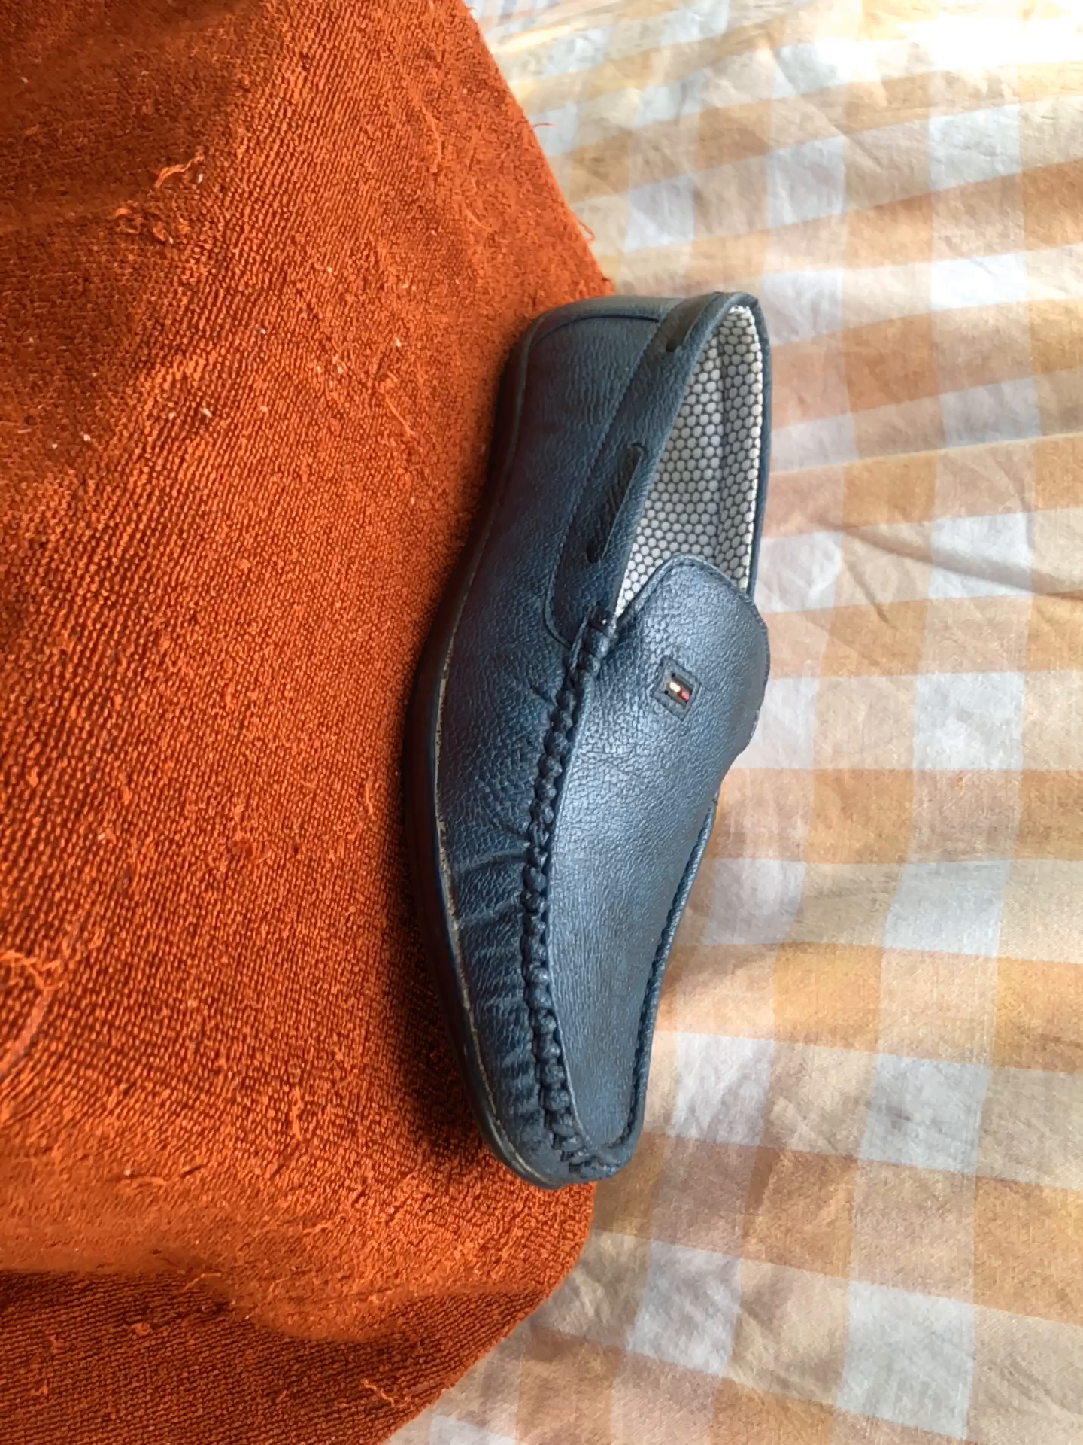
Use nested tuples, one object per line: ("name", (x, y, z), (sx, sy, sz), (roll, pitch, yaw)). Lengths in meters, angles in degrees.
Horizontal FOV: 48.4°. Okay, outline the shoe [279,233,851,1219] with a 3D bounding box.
("shoe", (0.026, -0.007, 0.354), (0.101, 0.089, 0.260), (51, 43, -48))
